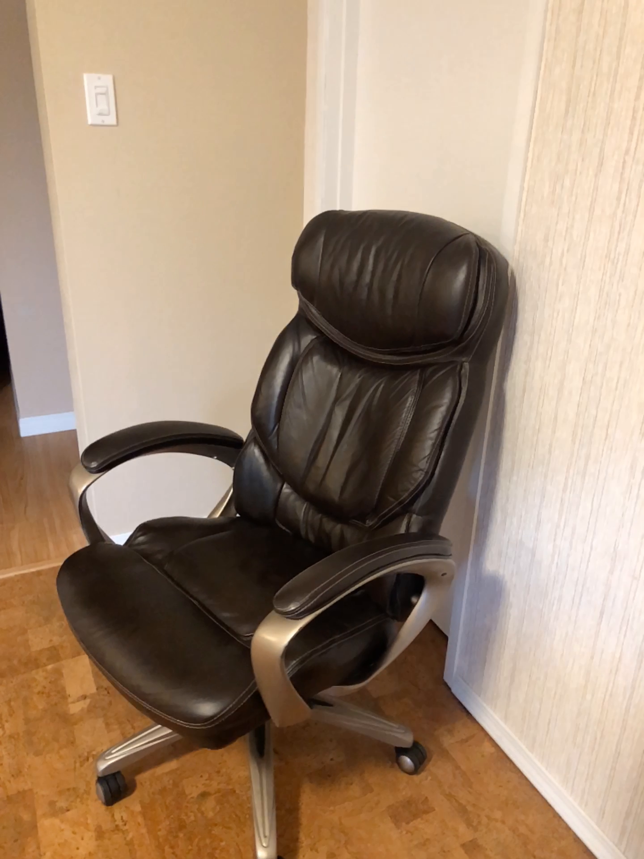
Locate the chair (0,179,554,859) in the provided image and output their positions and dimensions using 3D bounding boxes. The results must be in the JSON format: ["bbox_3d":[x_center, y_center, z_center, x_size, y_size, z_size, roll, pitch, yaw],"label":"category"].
[{"bbox_3d":[-0.134,0.148,1.299,0.691,1.086,0.651,22,30,39],"label":"chair"}]
